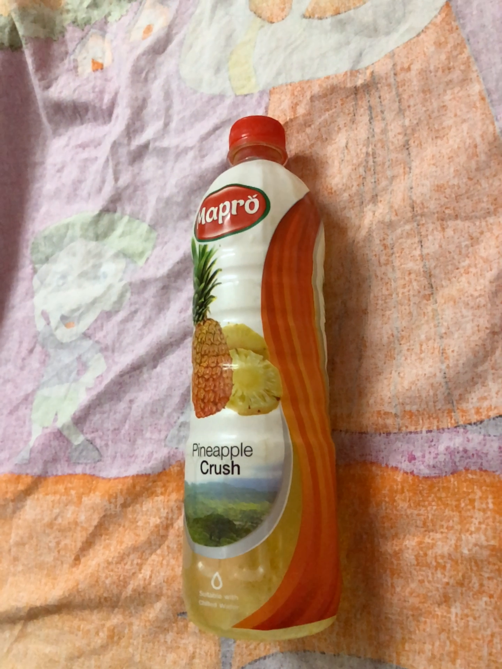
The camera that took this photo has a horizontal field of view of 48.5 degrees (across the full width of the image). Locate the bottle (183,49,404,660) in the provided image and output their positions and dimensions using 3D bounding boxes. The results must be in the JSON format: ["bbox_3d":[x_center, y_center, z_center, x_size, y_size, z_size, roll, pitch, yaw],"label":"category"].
[{"bbox_3d":[0.017,0.005,0.272,0.080,0.060,0.250,-7,79,31],"label":"bottle"}]
